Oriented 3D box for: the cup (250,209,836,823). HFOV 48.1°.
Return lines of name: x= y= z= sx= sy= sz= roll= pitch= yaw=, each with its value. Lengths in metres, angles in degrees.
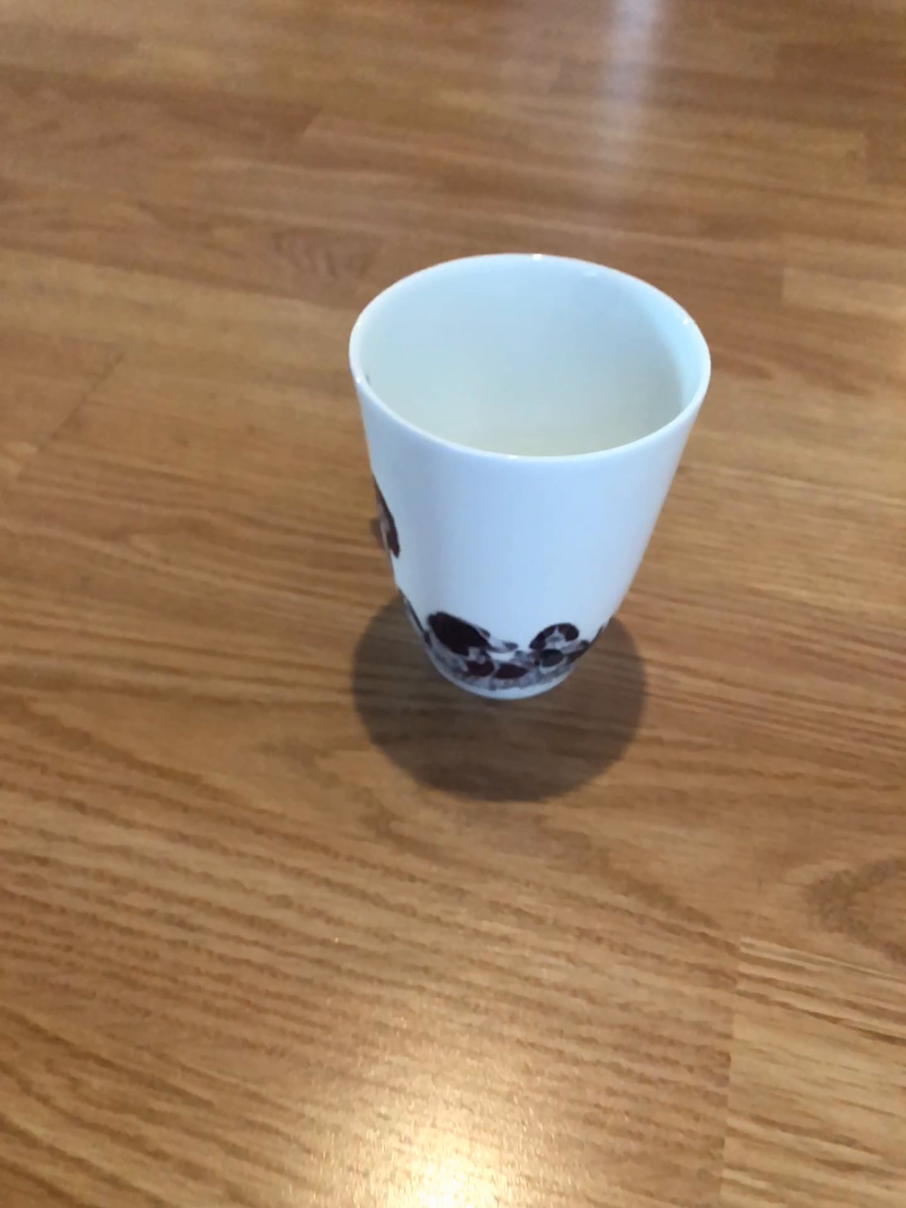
cup: x=0.015 y=-0.029 z=0.277 sx=0.090 sy=0.090 sz=0.120 roll=-22 pitch=52 yaw=-20
